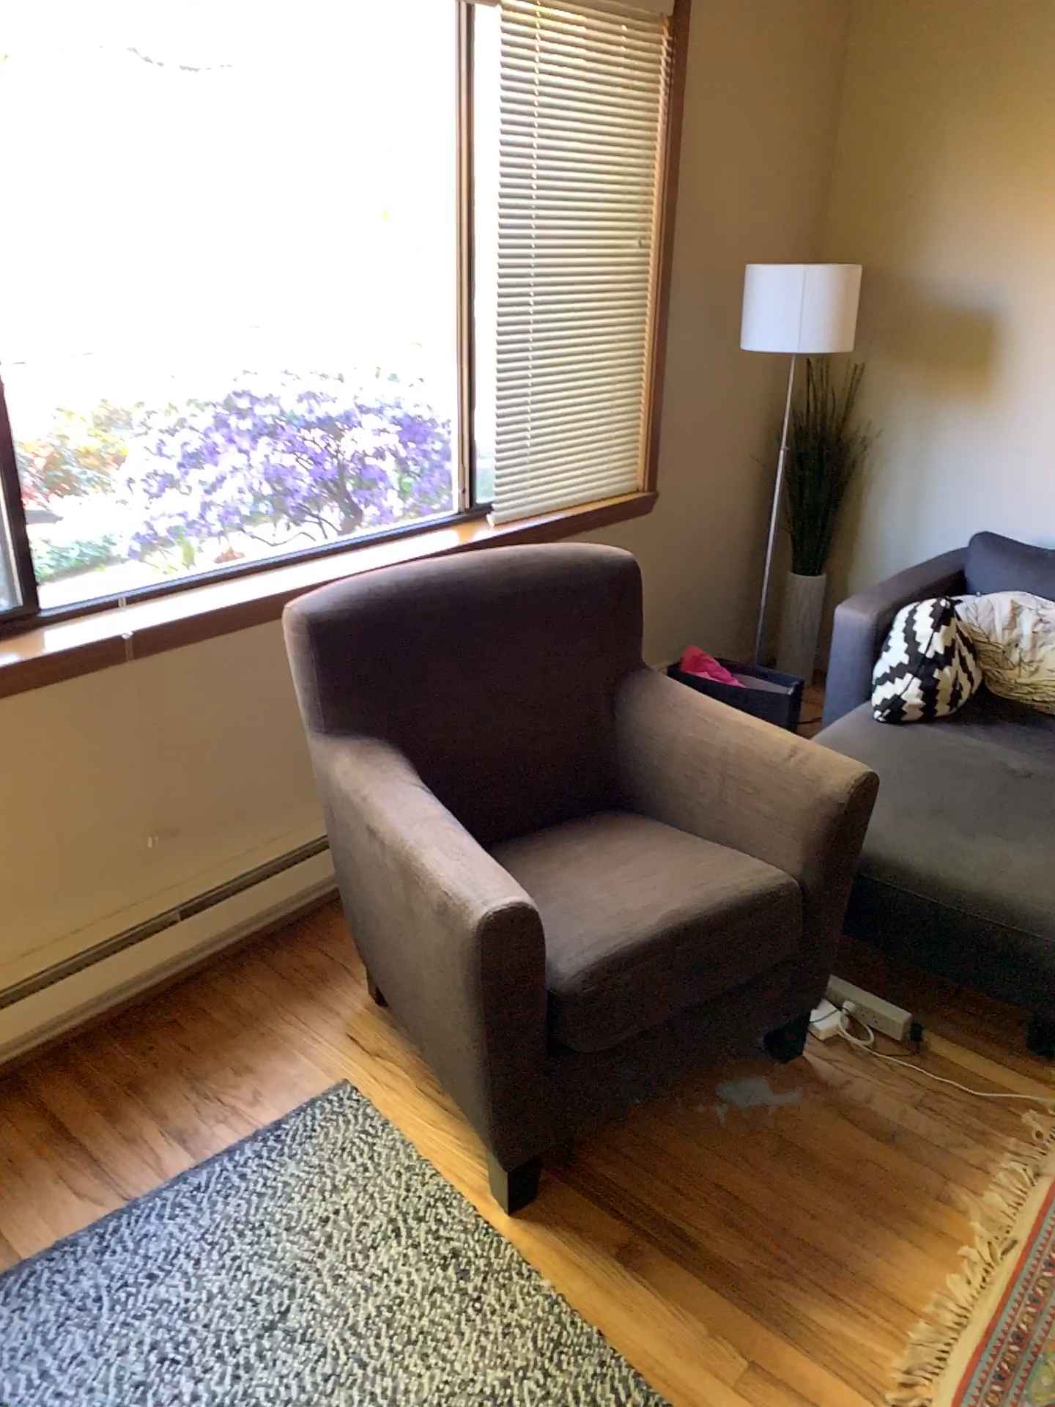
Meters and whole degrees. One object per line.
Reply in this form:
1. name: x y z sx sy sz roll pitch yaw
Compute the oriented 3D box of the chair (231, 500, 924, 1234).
1. chair: 0.066 0.171 1.991 0.881 0.876 0.803 -15 25 -33
